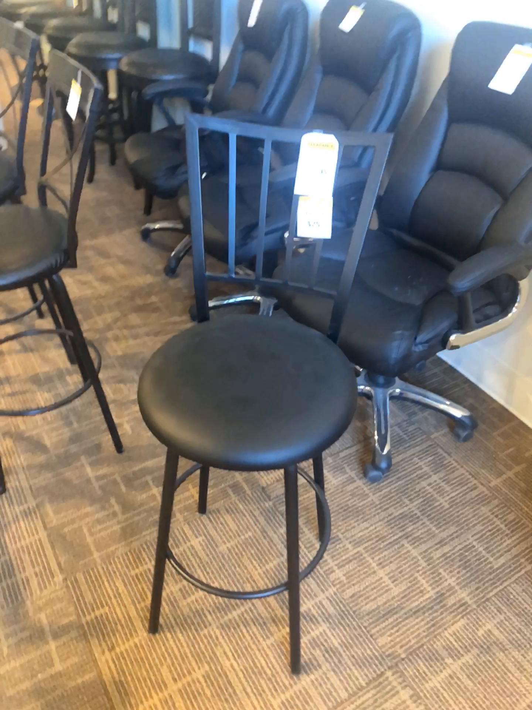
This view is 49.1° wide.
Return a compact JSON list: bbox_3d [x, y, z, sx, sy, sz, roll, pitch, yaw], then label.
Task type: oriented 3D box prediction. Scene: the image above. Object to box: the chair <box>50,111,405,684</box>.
[{"bbox_3d":[-0.035,0.140,1.212,0.430,1.075,0.482,9,38,8],"label":"chair"}]
